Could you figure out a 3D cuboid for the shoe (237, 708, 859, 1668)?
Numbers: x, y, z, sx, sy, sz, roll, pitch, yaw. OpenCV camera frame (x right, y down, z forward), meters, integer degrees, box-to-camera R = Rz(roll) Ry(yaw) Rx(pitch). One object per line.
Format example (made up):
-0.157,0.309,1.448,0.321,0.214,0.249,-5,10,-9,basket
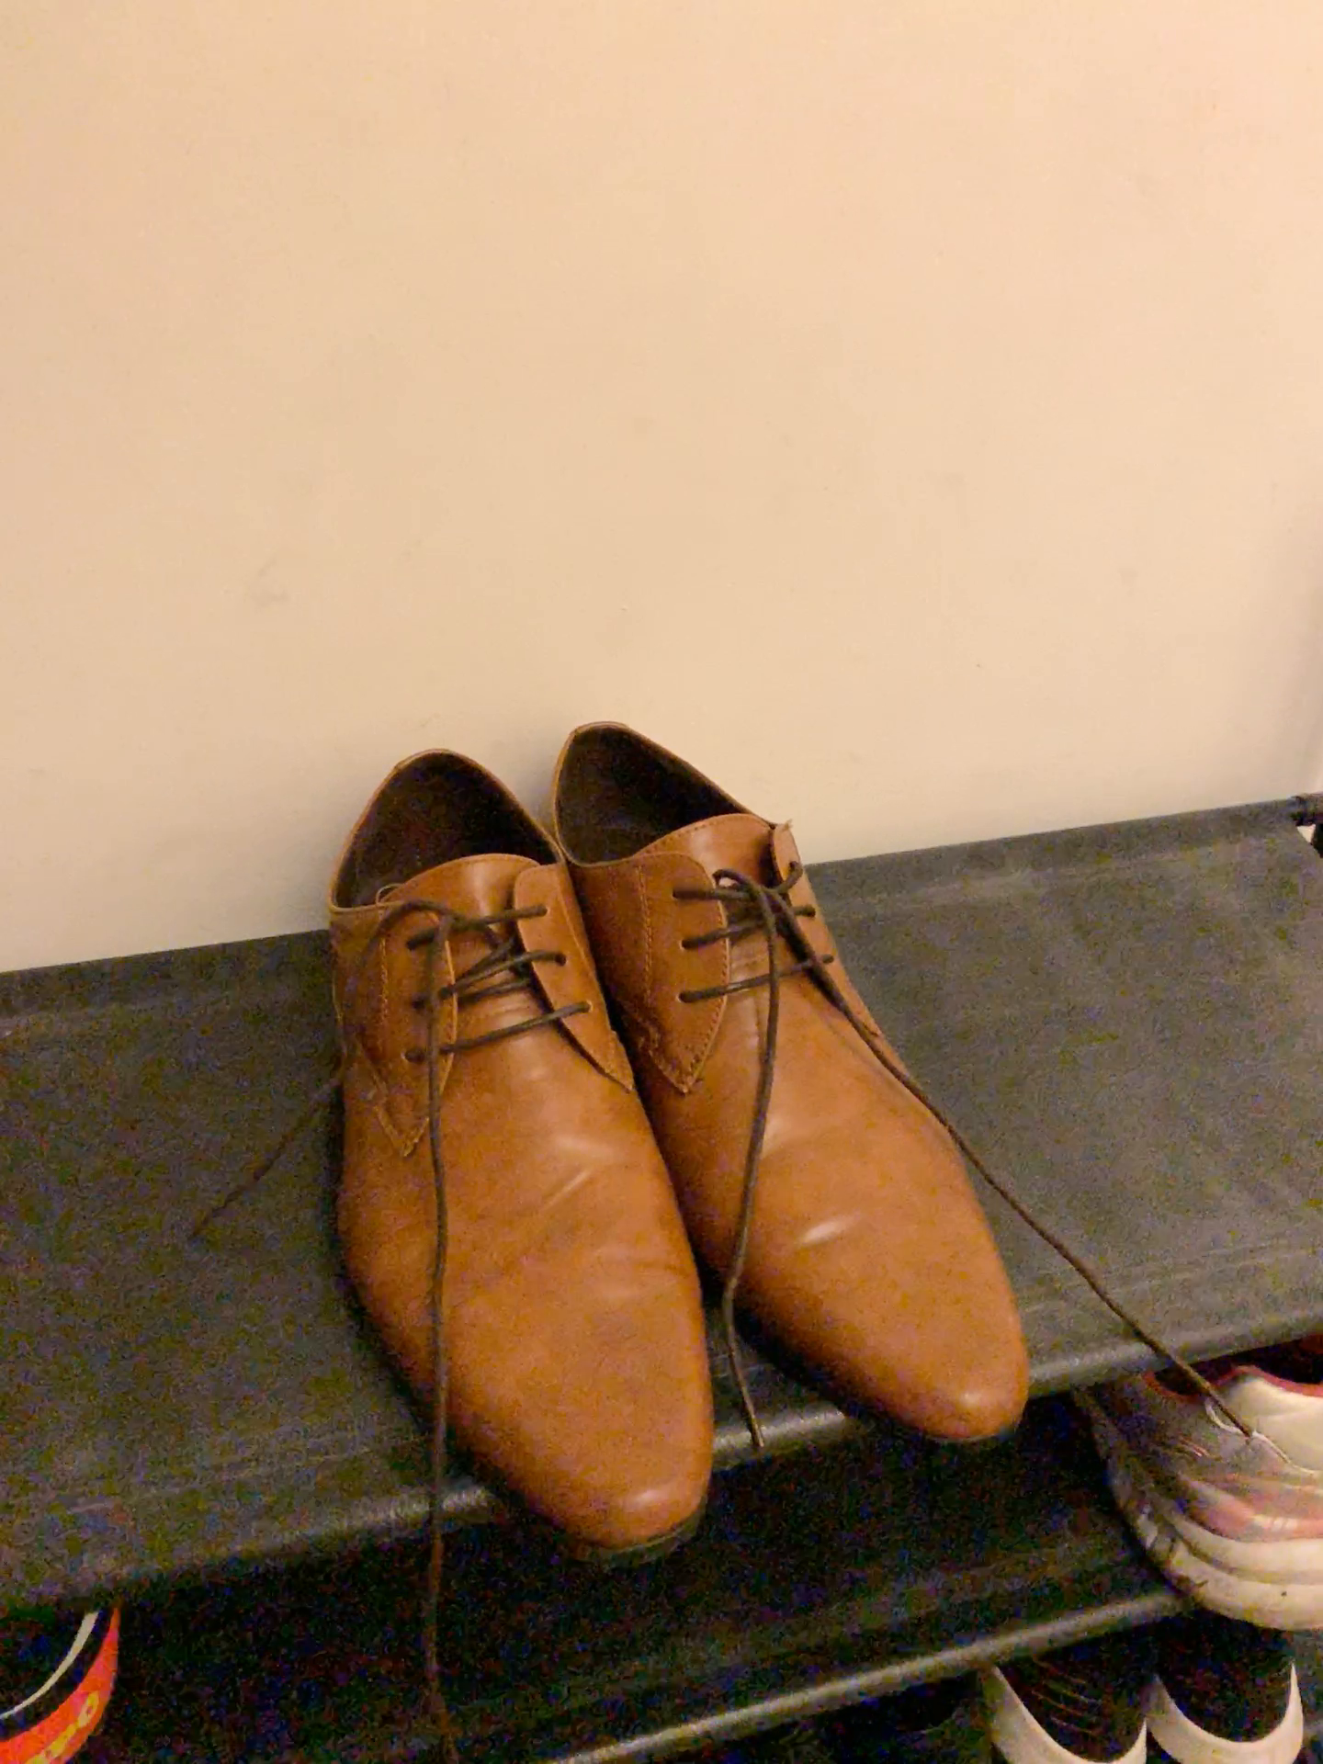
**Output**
-0.054,0.057,0.406,0.110,0.099,0.272,-9,34,-16,shoe

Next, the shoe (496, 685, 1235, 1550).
0.037,0.046,0.452,0.100,0.099,0.292,-12,35,-19,shoe
